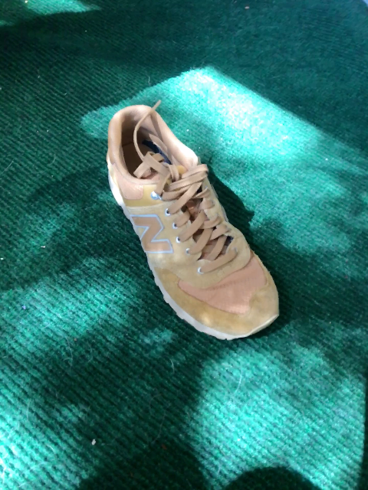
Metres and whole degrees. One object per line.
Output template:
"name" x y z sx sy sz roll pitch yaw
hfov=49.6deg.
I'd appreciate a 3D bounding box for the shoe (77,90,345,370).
"shoe" 0.011 -0.025 0.407 0.110 0.099 0.260 -30 67 -23
